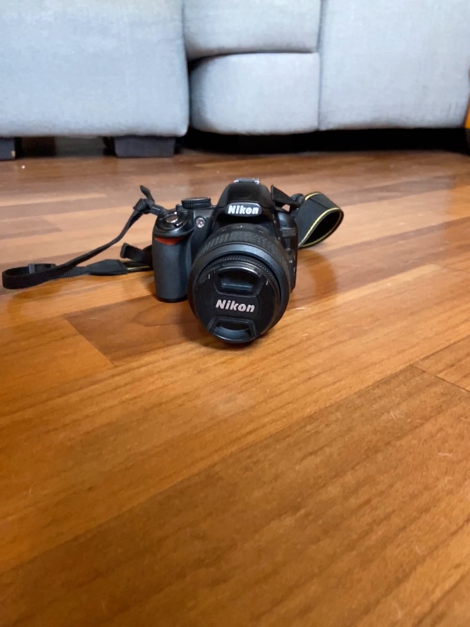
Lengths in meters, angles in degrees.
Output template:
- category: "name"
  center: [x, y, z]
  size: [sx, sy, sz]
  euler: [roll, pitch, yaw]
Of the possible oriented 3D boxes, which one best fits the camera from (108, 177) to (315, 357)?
- category: "camera"
  center: [-0.010, -0.047, 0.373]
  size: [0.120, 0.090, 0.162]
  euler: [1, 23, 3]
